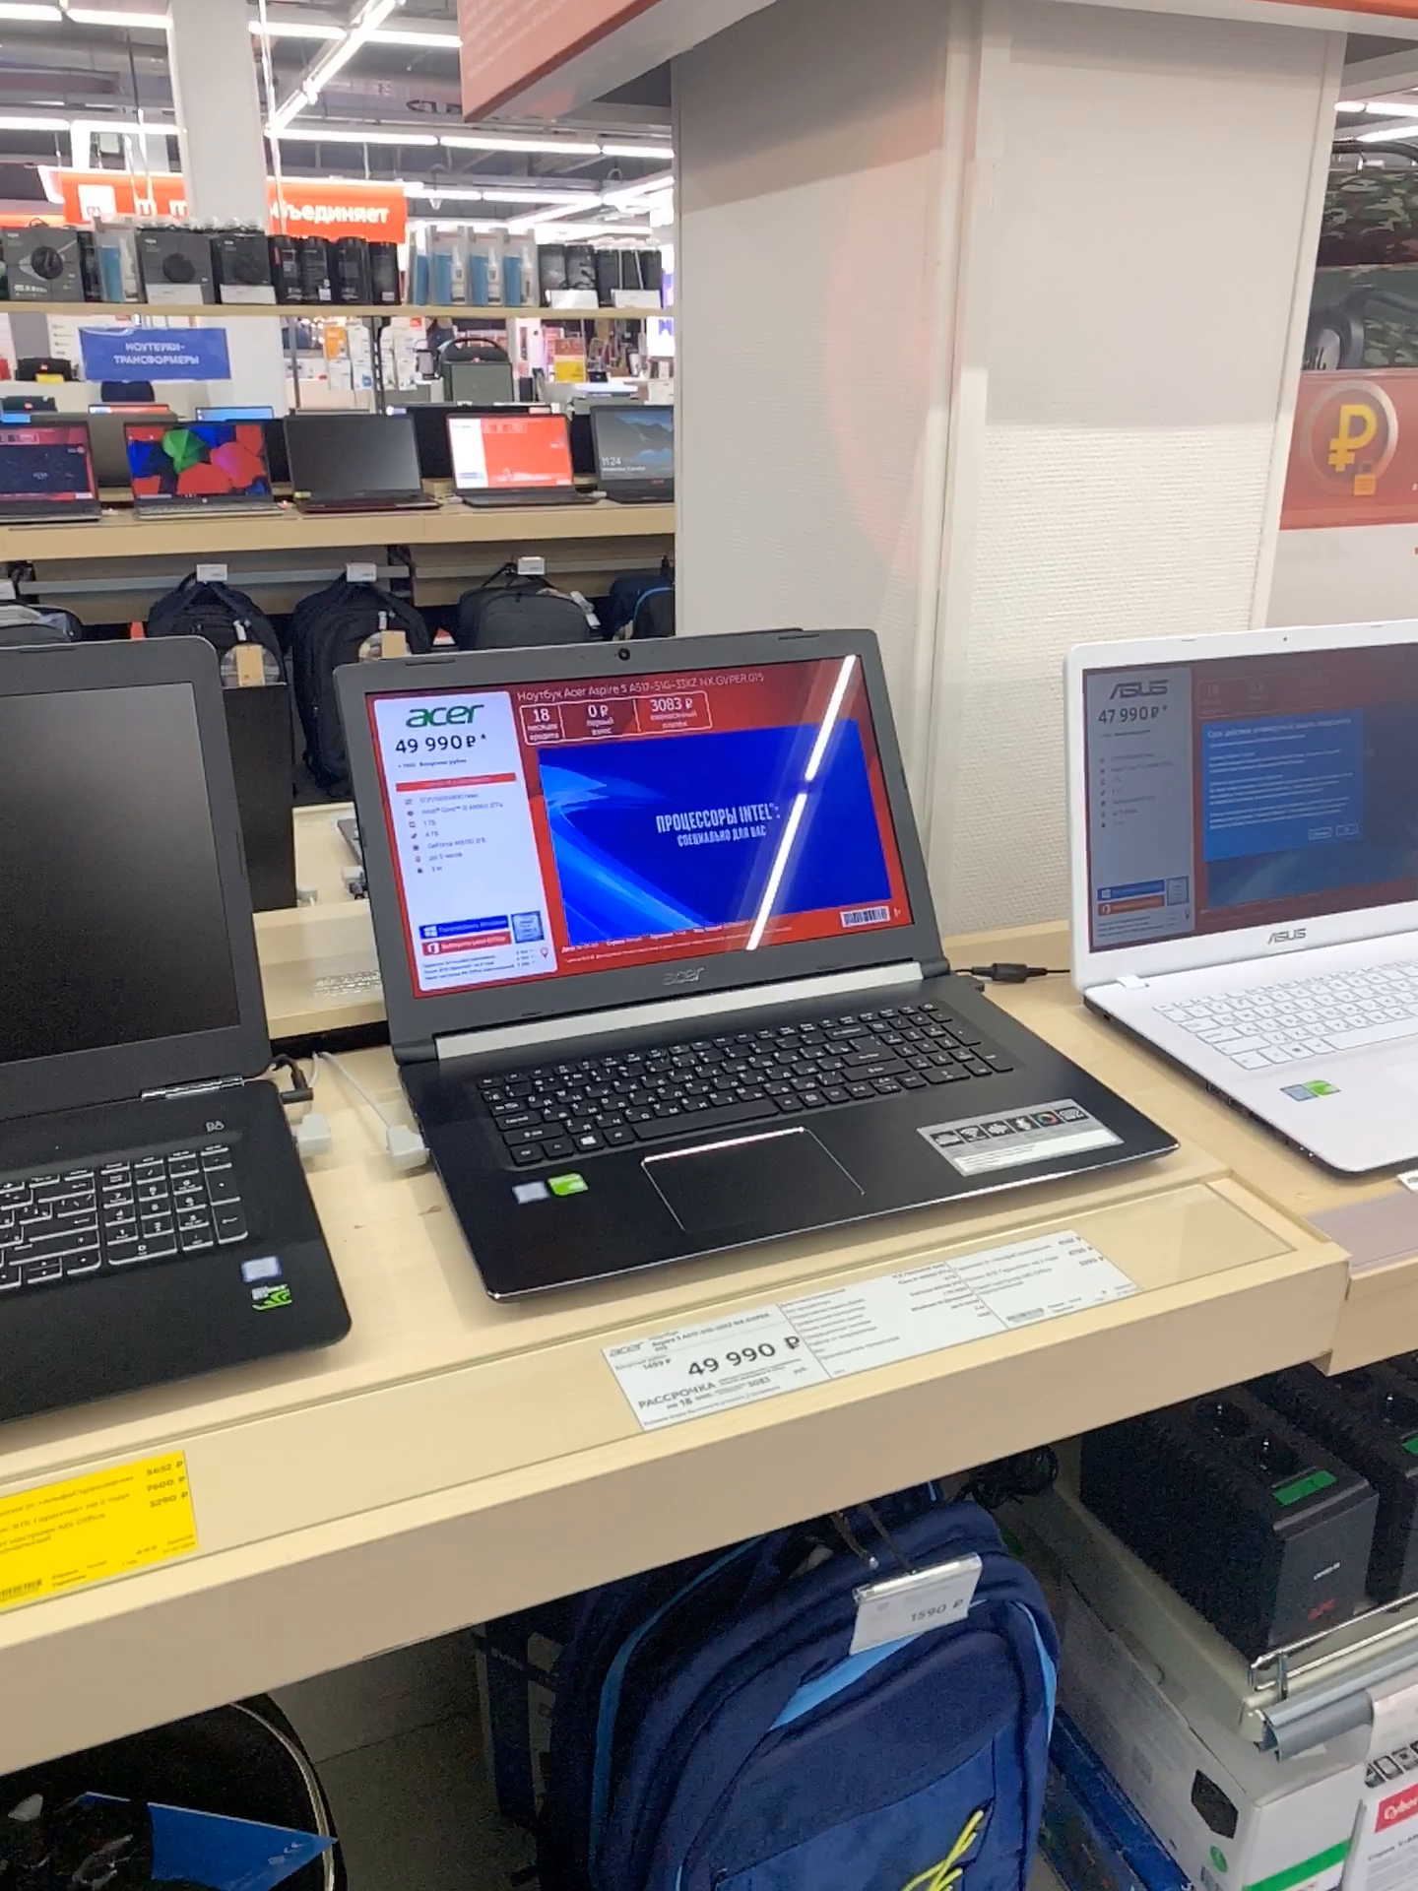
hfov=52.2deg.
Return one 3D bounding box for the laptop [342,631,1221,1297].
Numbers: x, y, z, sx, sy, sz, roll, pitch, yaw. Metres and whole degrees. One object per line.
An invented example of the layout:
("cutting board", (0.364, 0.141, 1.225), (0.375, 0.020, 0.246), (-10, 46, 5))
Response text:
("laptop", (0.013, -0.037, 0.952), (0.420, 0.235, 0.422), (-8, 24, -20))
